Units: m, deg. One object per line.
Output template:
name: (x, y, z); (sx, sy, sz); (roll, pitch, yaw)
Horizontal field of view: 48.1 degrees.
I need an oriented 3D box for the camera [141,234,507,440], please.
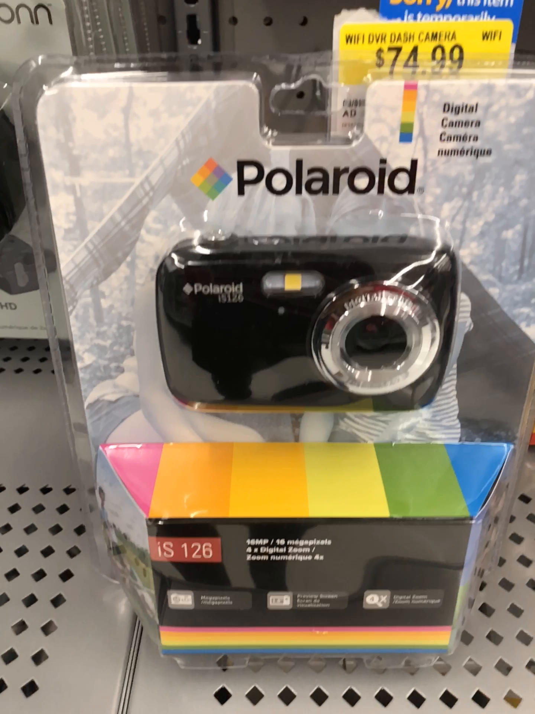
camera: (0.015, -0.006, 0.193); (0.100, 0.060, 0.030); (0, 37, 0)
